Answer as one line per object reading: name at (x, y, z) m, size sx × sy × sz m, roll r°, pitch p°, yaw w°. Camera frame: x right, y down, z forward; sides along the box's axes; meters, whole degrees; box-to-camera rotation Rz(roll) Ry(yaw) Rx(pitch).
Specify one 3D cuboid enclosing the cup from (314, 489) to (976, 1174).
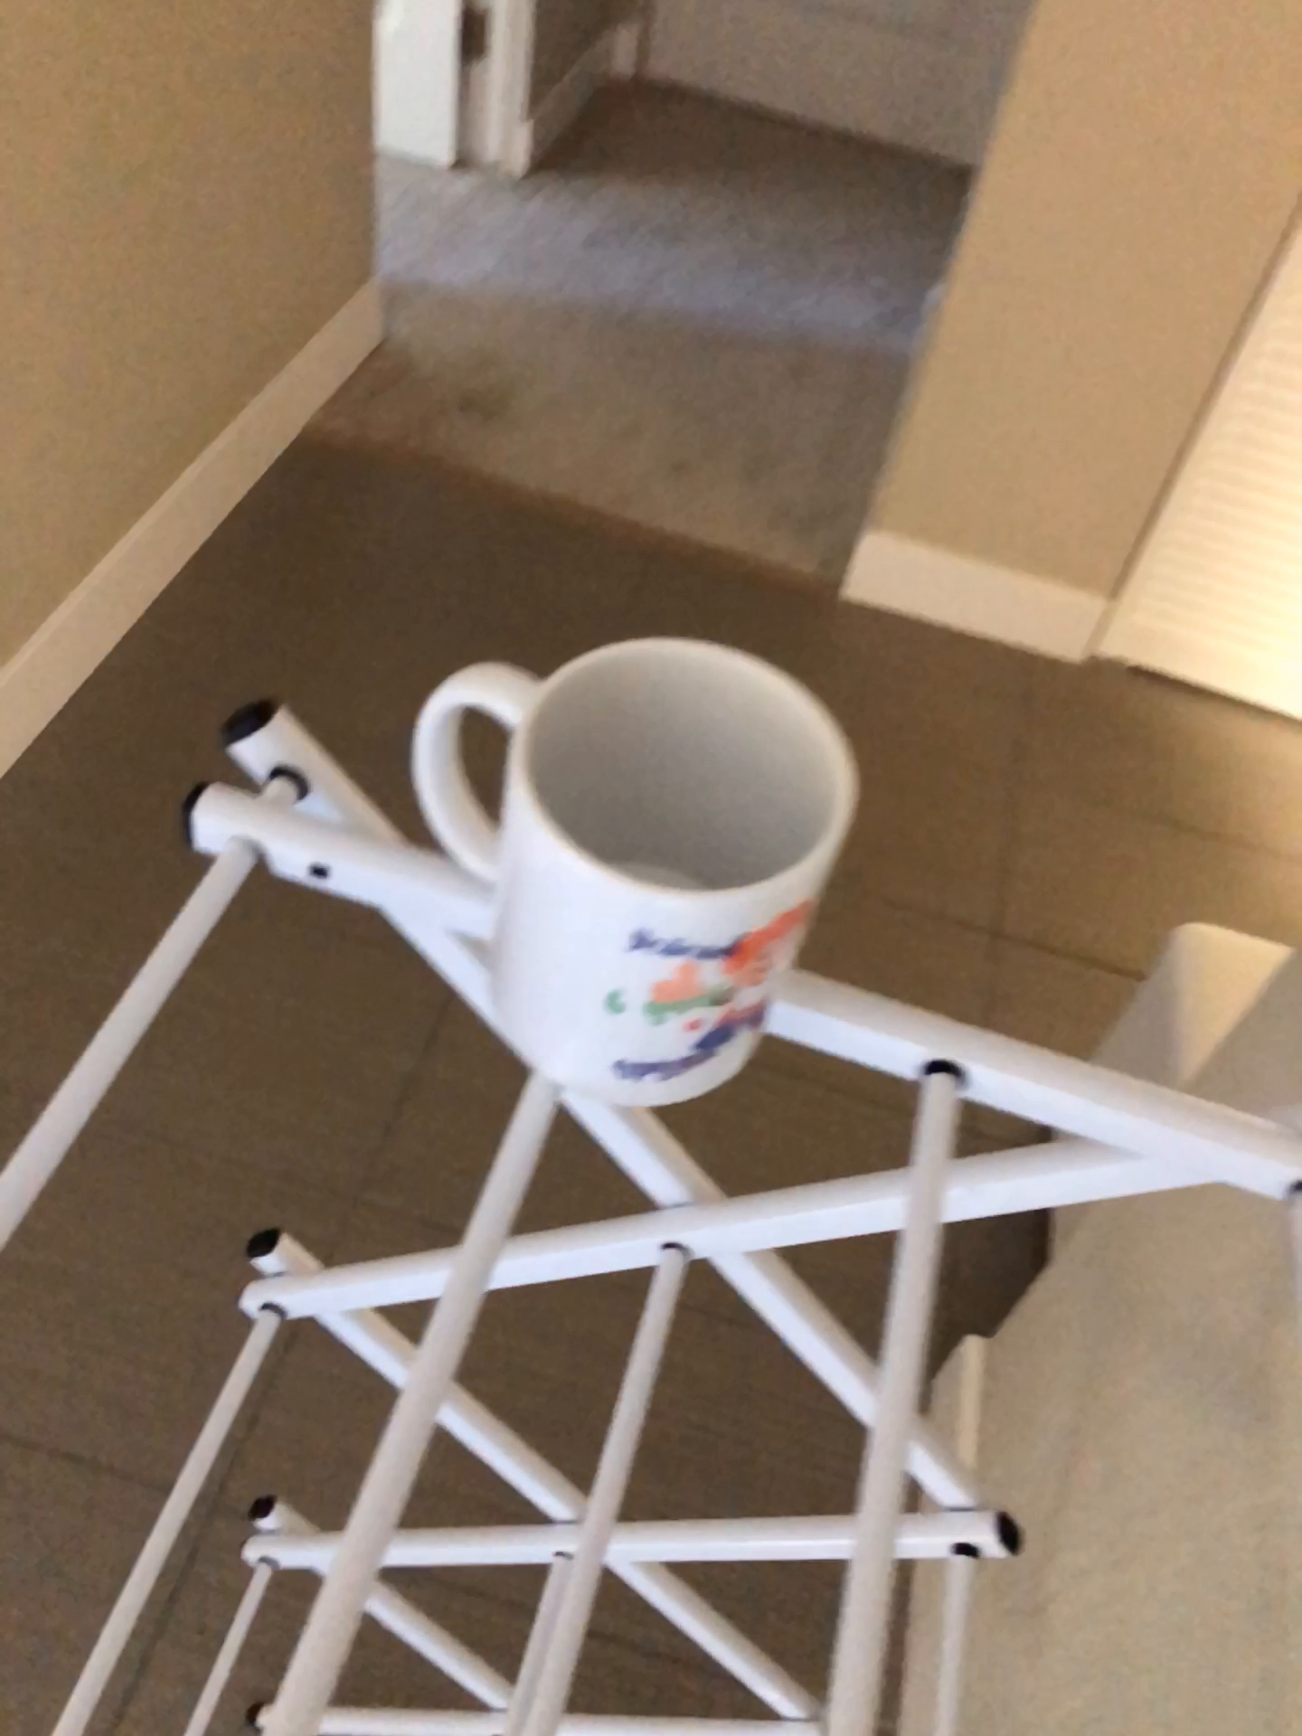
cup at (-0.007, -0.011, 0.371) m, size 0.130 × 0.090 × 0.090 m, roll 36°, pitch 55°, yaw 15°
